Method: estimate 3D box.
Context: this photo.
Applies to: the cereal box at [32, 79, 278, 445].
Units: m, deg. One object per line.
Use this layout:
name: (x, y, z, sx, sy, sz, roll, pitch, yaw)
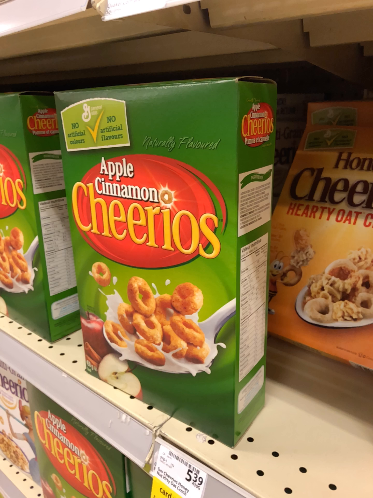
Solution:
cereal box: (-0.033, 0.002, 0.391, 0.211, 0.289, 0.070, 12, 23, 34)
